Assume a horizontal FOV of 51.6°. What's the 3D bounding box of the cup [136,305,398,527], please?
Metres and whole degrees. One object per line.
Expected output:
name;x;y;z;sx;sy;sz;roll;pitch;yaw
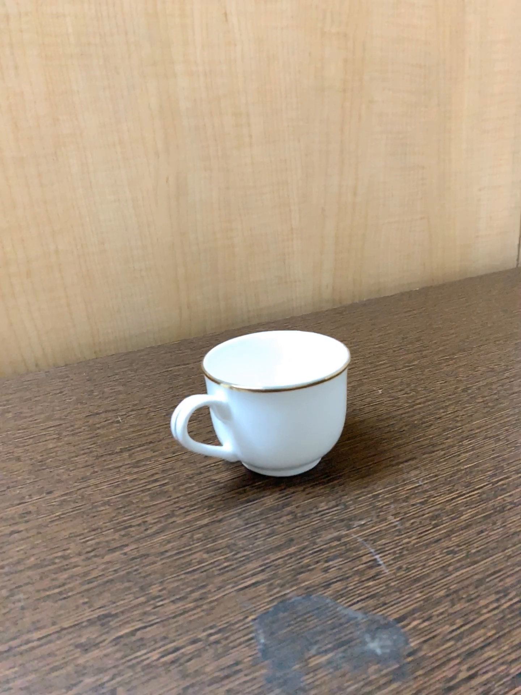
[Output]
cup;0.005;0.021;0.230;0.090;0.050;0.060;-18;24;-34
